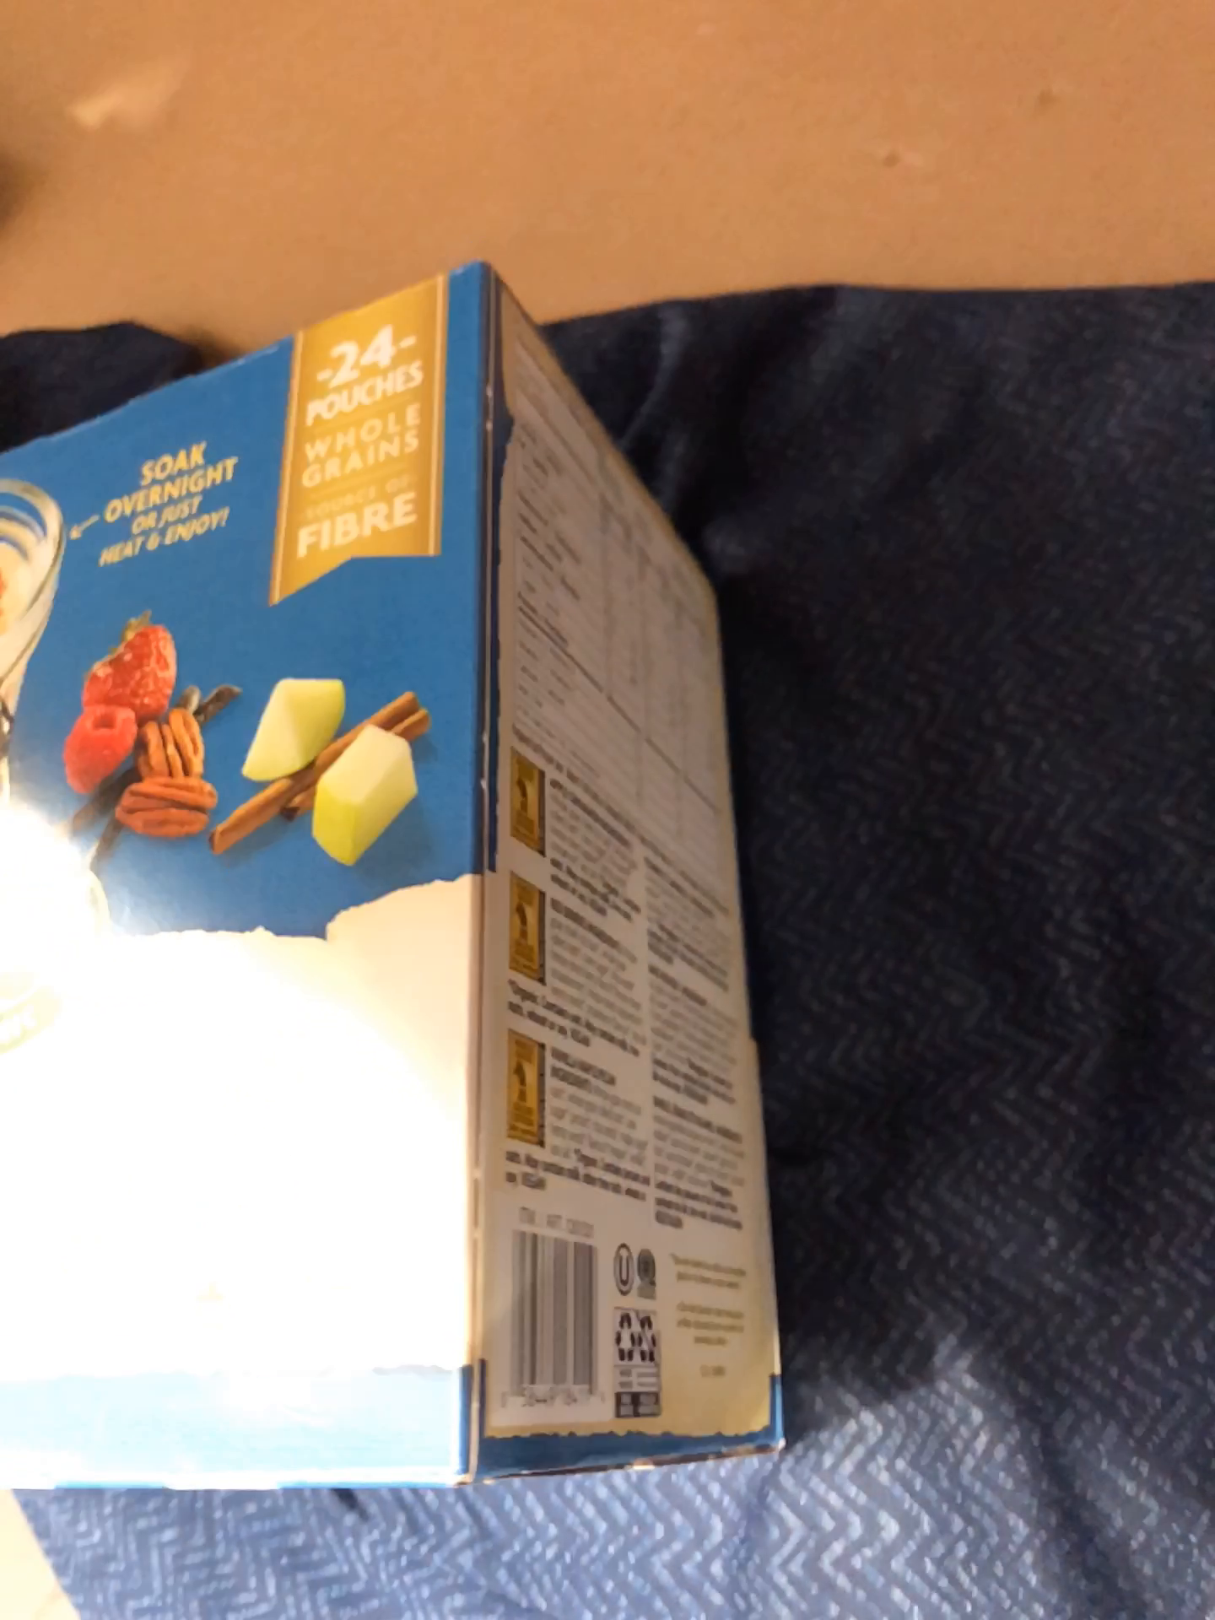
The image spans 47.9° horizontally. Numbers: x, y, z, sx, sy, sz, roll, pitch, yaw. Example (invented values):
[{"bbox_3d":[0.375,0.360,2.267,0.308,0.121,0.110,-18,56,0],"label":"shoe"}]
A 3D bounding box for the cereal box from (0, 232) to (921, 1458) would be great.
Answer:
[{"bbox_3d":[-0.073,0.034,0.359,0.251,0.149,0.240,-12,63,22],"label":"cereal box"}]
